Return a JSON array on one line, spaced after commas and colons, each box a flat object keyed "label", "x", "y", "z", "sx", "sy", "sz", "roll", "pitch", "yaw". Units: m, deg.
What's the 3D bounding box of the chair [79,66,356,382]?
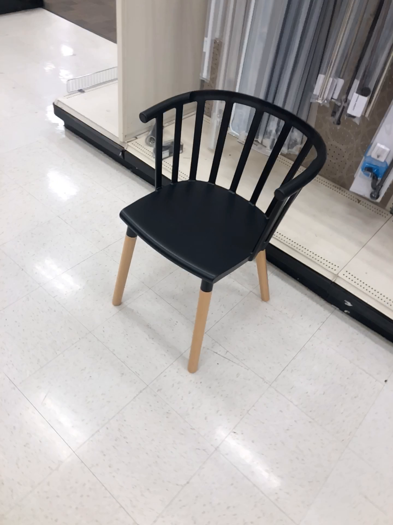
[{"label": "chair", "x": 0.035, "y": -0.136, "z": 1.455, "sx": 0.535, "sy": 0.730, "sz": 0.569, "roll": 36, "pitch": 51, "yaw": 25}]
